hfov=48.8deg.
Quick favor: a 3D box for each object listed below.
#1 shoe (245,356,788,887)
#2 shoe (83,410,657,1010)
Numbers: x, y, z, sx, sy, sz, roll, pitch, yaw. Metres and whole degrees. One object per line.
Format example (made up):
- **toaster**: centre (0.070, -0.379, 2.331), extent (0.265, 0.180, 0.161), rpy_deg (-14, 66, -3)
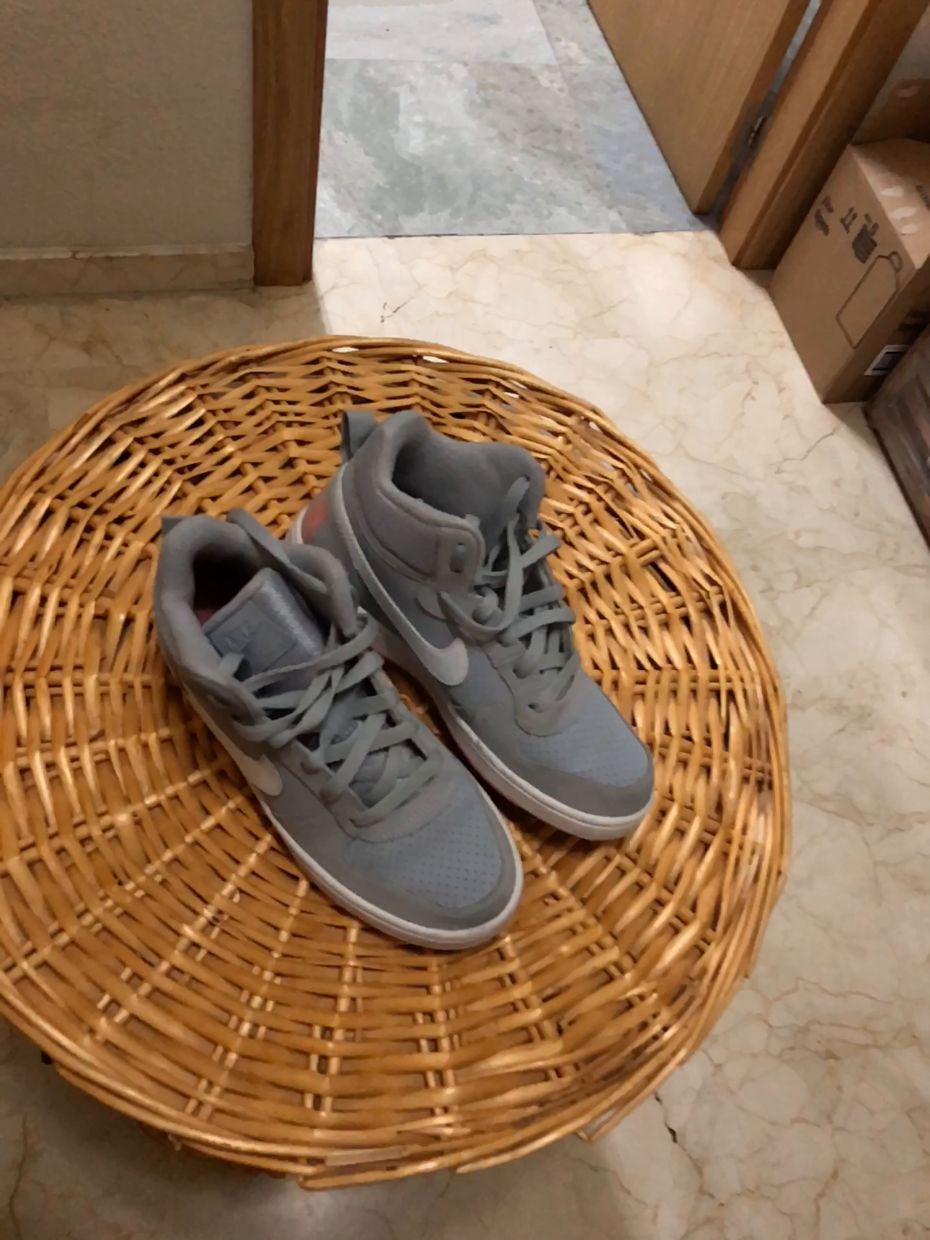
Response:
- **shoe**: centre (0.017, -0.002, 0.532), extent (0.247, 0.117, 0.099), rpy_deg (40, 51, 11)
- **shoe**: centre (-0.054, 0.046, 0.489), extent (0.105, 0.120, 0.251), rpy_deg (-39, 81, -27)
